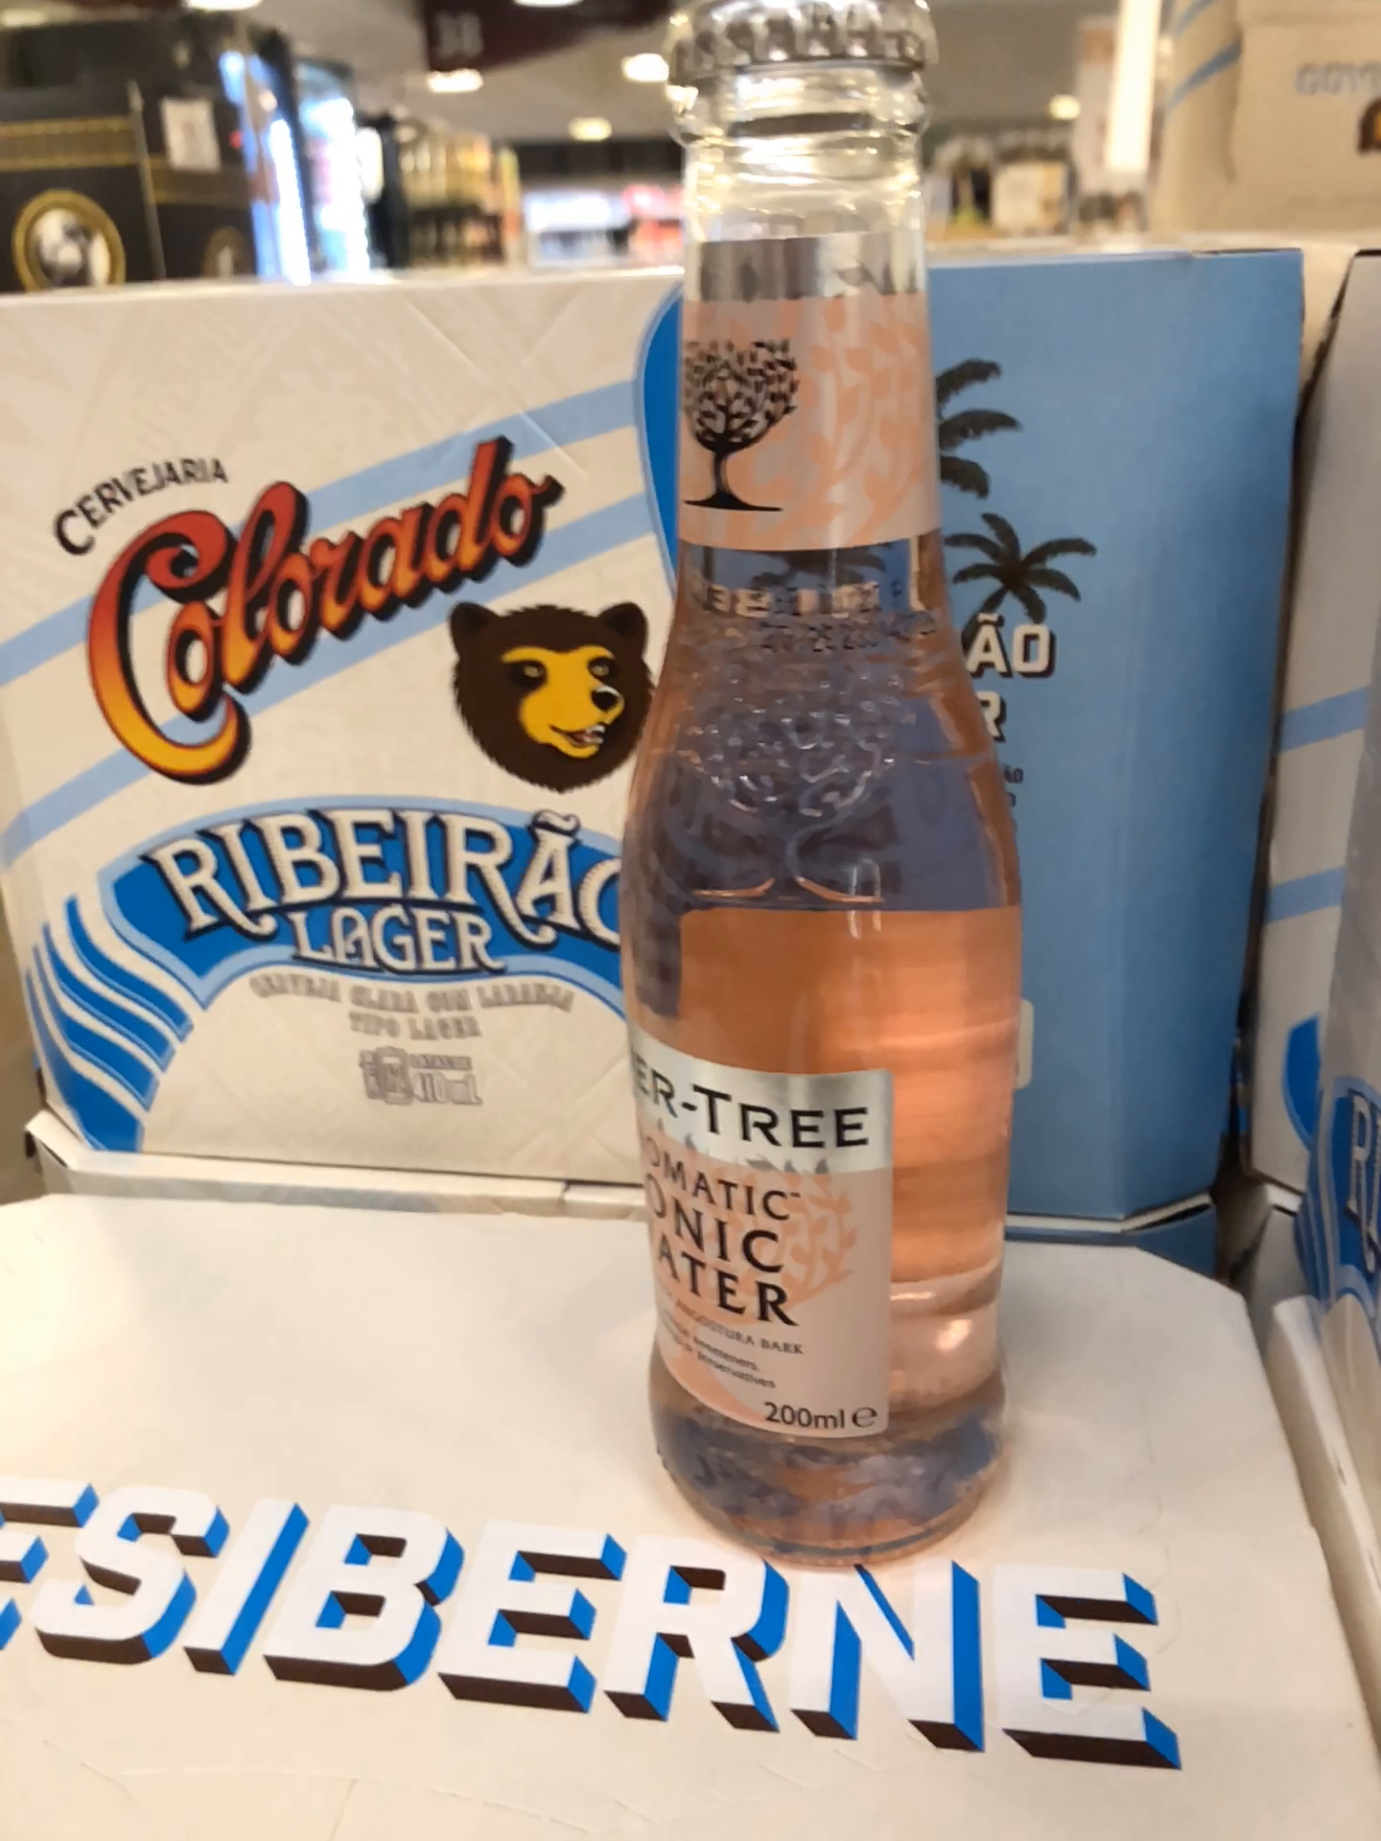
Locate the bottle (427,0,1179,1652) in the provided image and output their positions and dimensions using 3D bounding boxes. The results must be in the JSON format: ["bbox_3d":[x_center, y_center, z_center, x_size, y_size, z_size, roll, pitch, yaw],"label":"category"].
[{"bbox_3d":[0.012,-0.011,0.195,0.050,0.189,0.060,-18,28,-35],"label":"bottle"}]
